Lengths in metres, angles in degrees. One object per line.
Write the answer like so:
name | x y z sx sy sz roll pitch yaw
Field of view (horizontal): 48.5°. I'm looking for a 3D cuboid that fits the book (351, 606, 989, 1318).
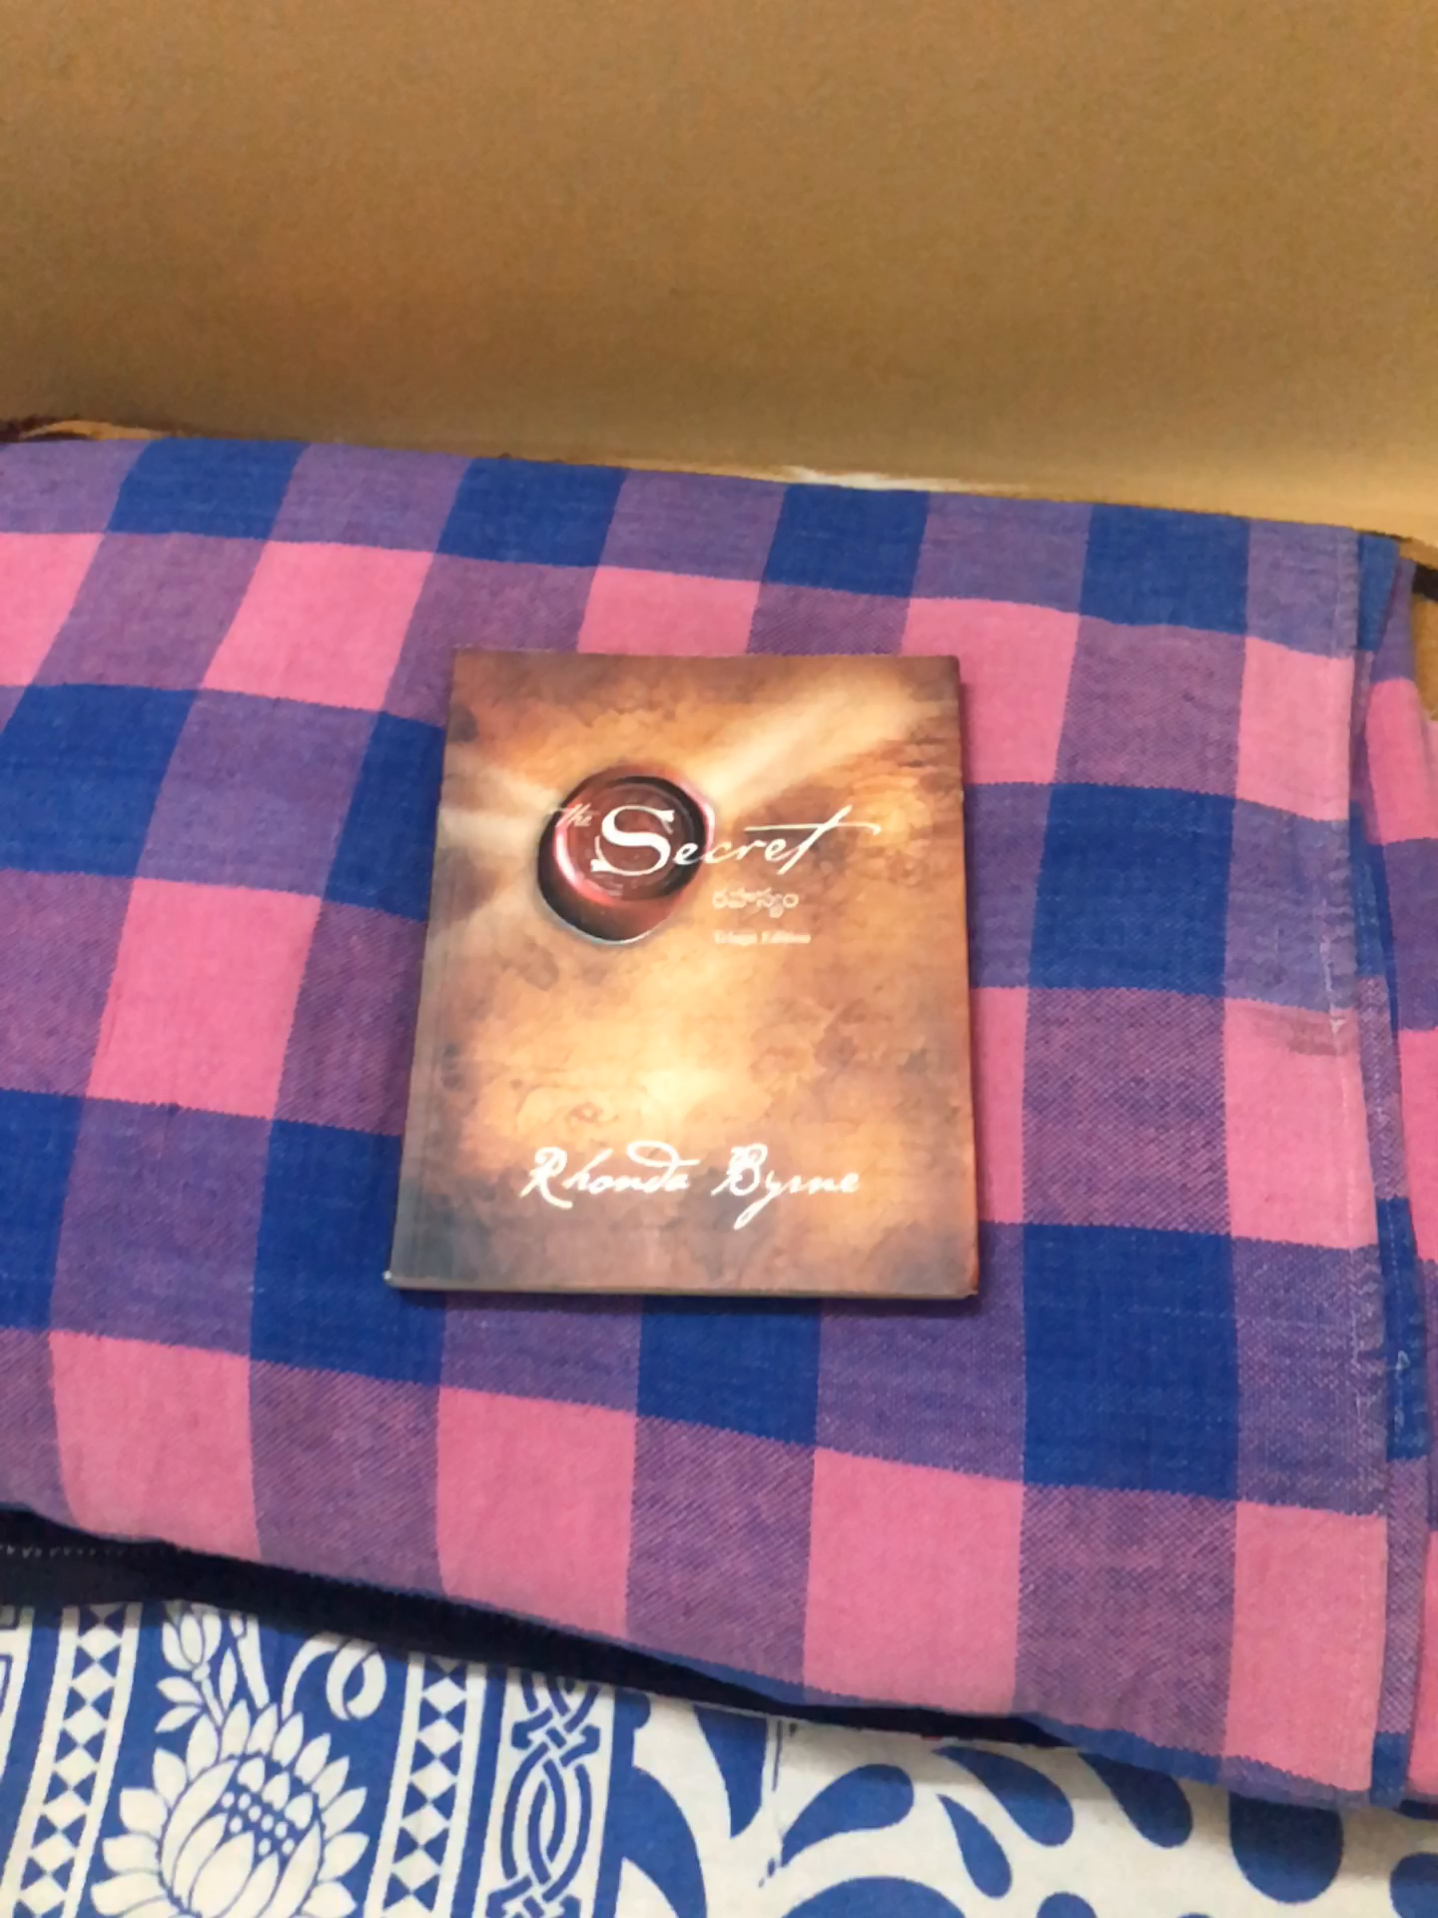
book | -0.007 -0.006 0.419 0.150 0.020 0.190 0 67 7
